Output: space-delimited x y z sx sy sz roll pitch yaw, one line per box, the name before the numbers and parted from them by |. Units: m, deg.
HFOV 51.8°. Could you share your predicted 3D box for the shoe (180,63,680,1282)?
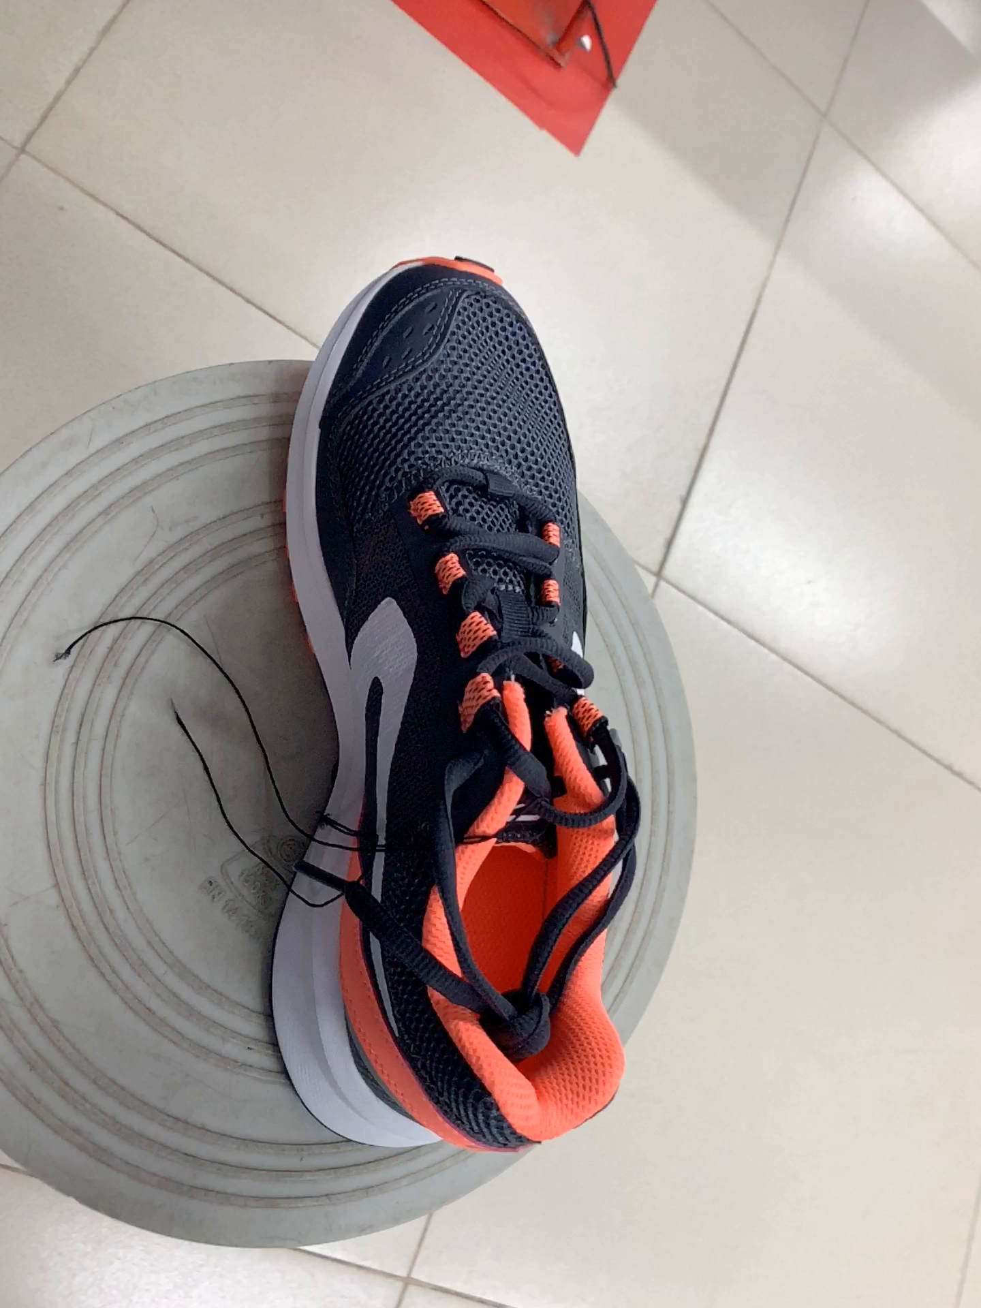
shoe | -0.020 0.003 0.313 0.100 0.120 0.290 7 80 -28
